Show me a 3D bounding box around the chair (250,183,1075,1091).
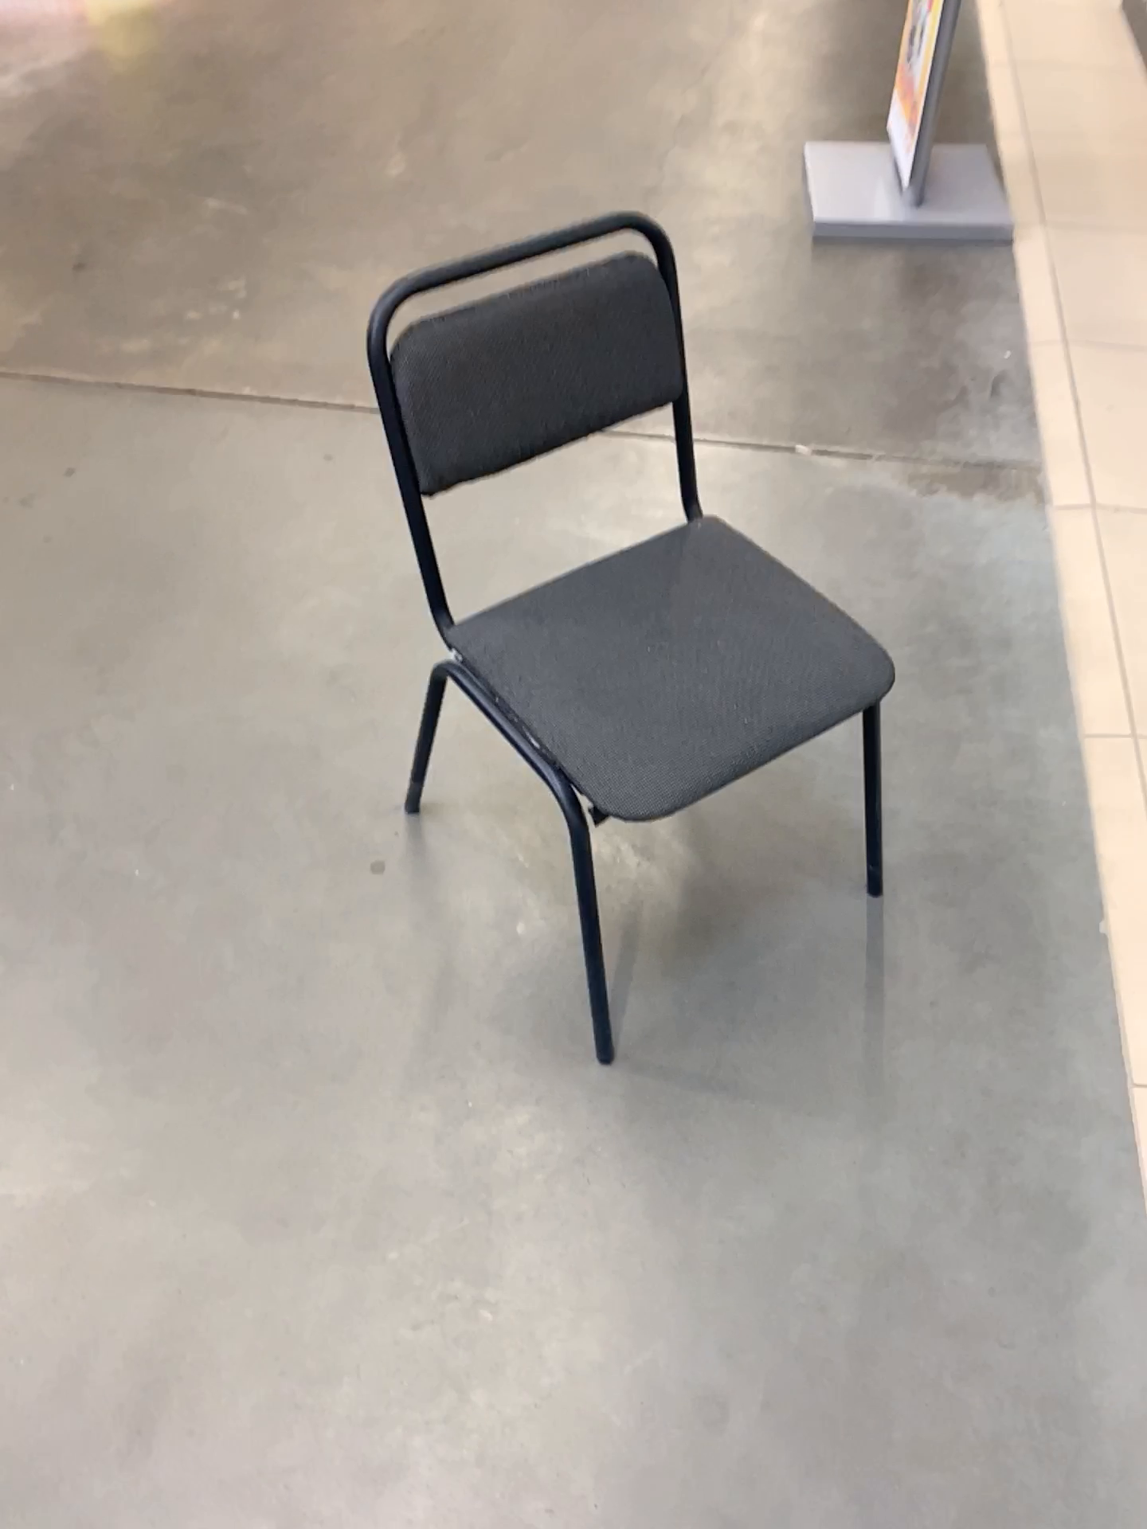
[{"bbox_3d":[0.061,-0.157,1.433,0.550,0.737,0.632,-25,53,-21],"label":"chair"}]
